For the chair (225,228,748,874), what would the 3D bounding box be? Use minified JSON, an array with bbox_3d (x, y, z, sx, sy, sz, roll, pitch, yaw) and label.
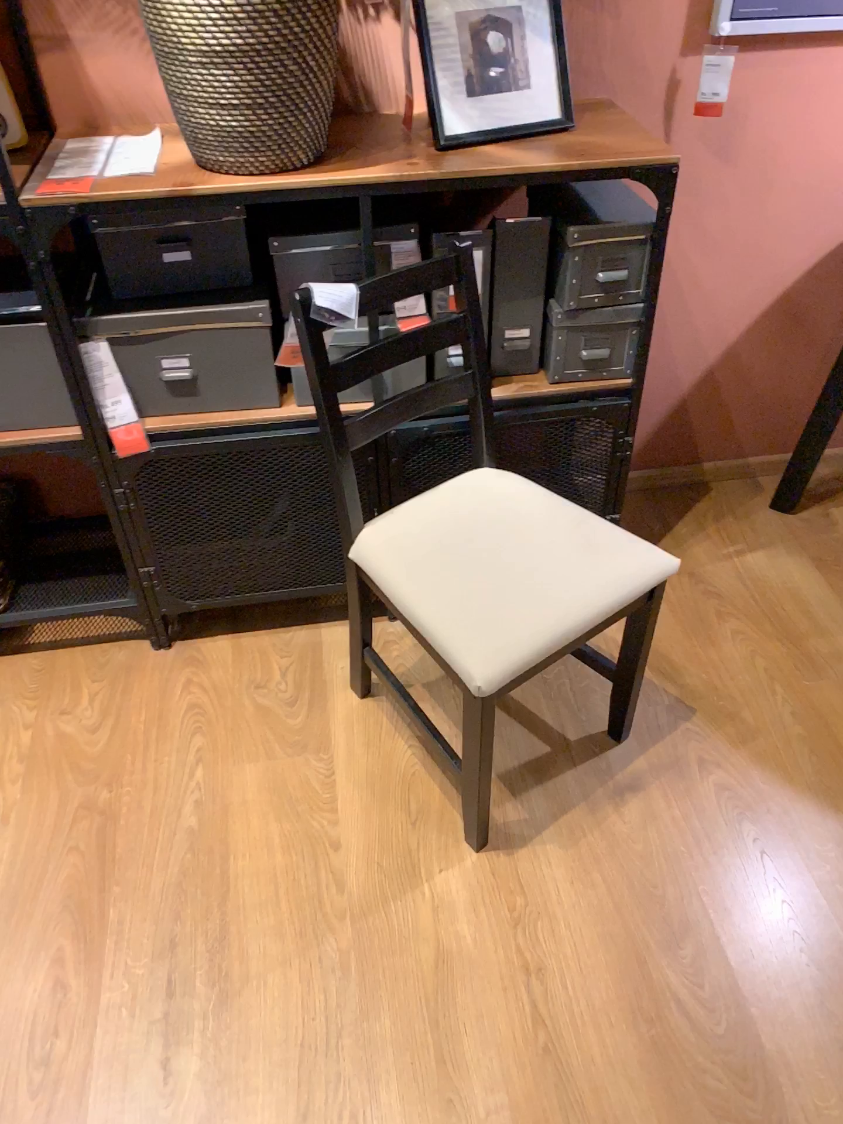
[{"bbox_3d":[0.074,-0.020,1.372,0.431,0.767,0.541,-29,48,-27],"label":"chair"}]
